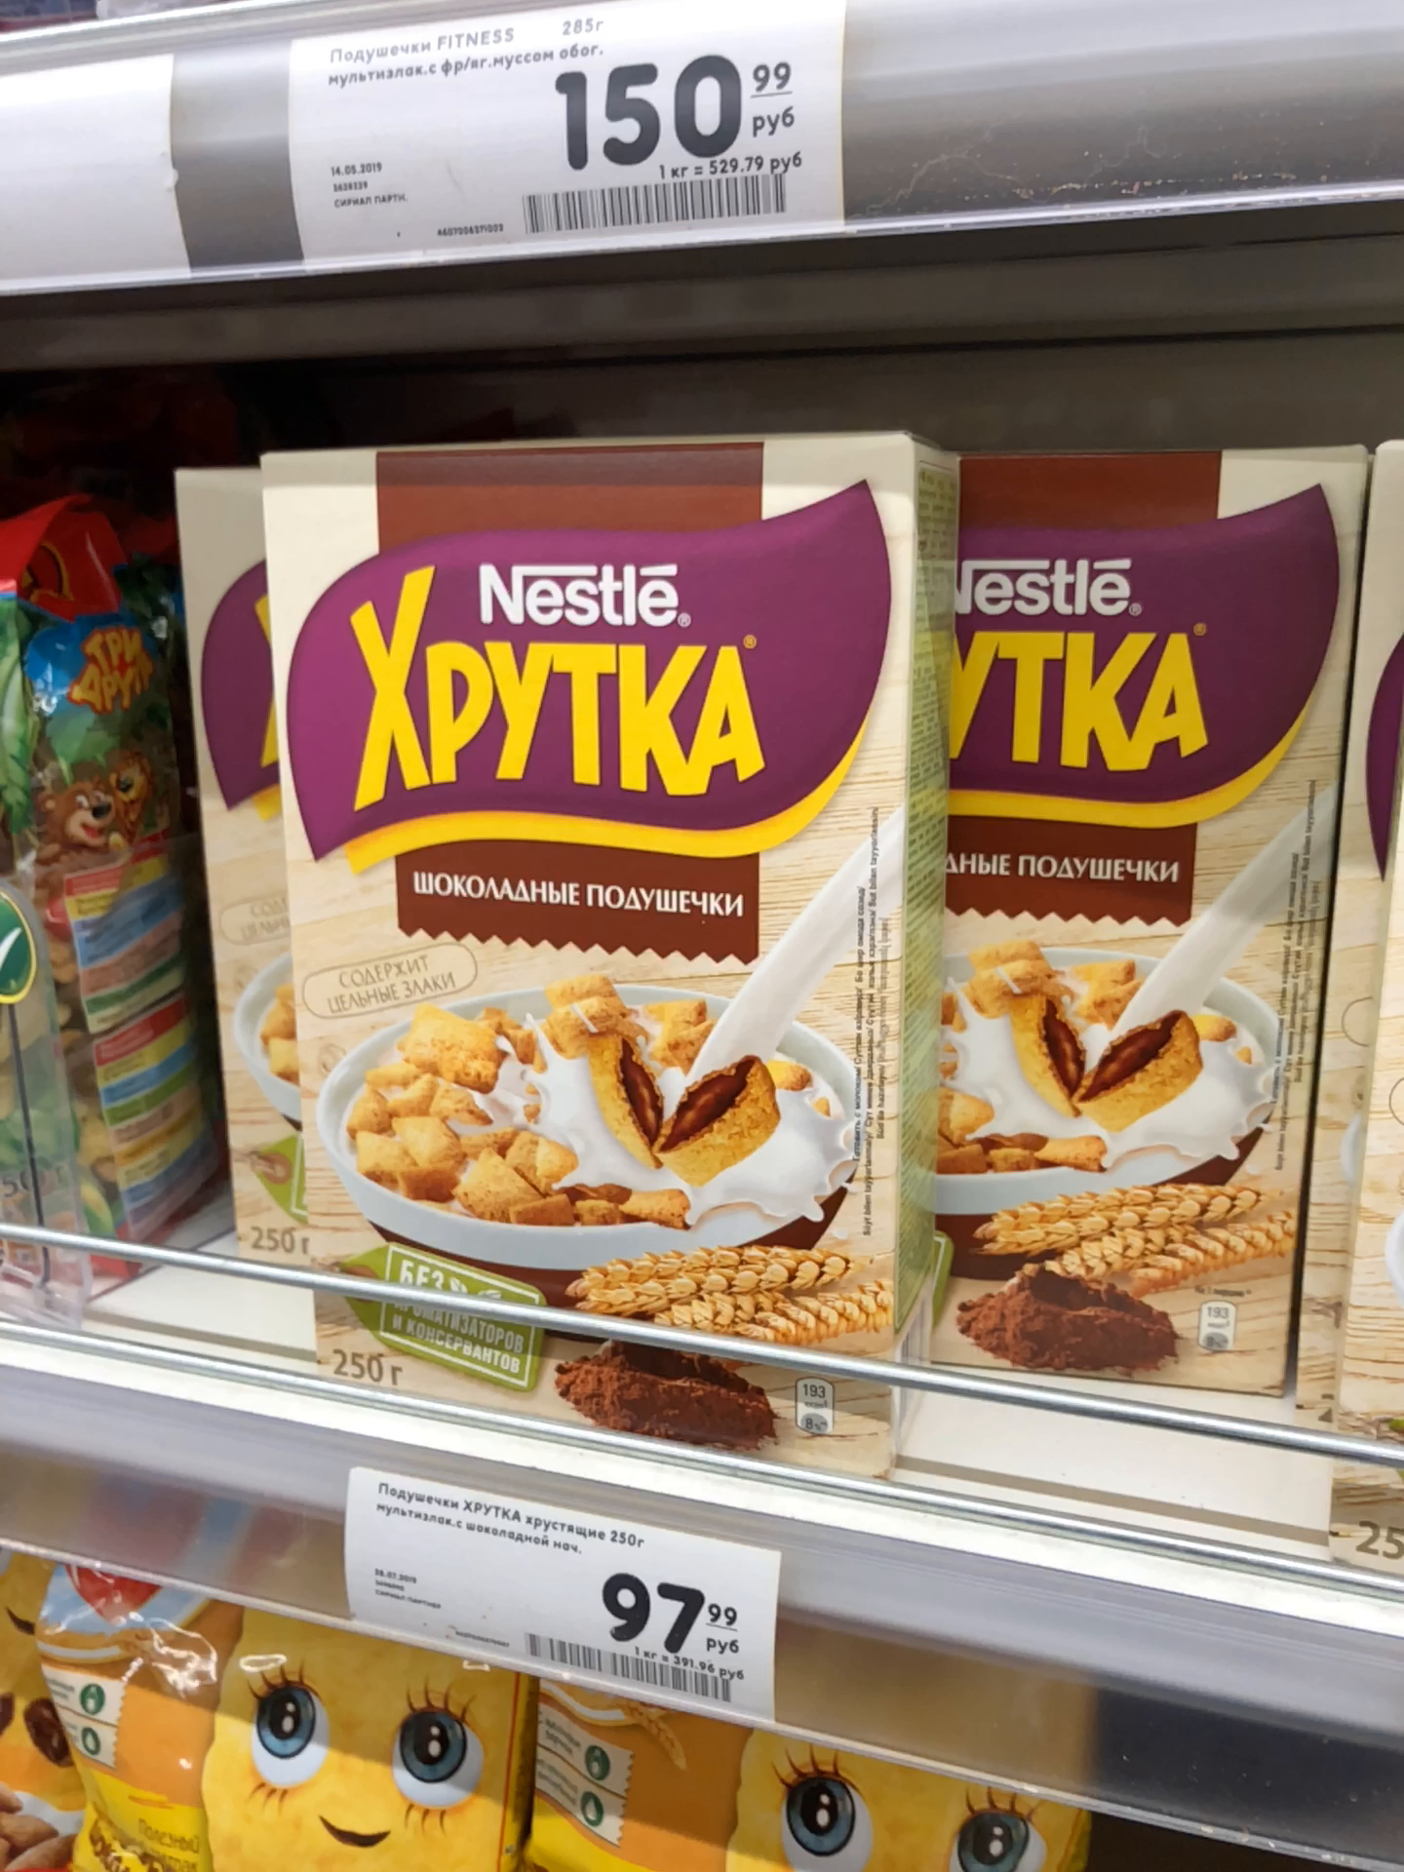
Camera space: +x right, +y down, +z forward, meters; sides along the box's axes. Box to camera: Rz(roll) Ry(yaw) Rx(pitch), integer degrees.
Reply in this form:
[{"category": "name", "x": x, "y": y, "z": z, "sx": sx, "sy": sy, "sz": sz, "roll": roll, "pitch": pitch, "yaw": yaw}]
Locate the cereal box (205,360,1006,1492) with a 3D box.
[{"category": "cereal box", "x": -0.022, "y": -0.004, "z": 0.341, "sx": 0.160, "sy": 0.219, "sz": 0.040, "roll": 5, "pitch": 13, "yaw": 19}]
